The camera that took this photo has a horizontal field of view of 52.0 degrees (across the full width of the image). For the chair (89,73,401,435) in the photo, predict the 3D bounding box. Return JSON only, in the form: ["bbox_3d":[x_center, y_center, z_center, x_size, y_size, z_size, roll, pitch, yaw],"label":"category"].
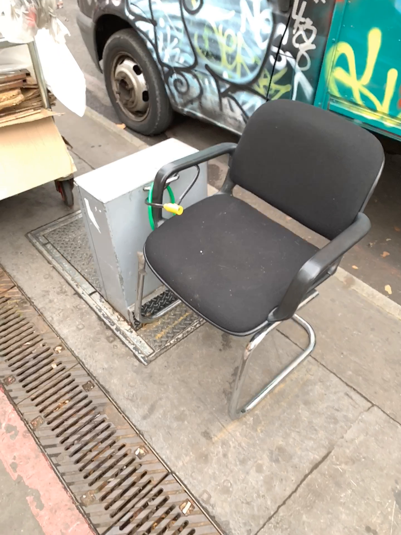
[{"bbox_3d":[0.125,-0.051,1.263,0.603,0.753,0.562,-32,55,-30],"label":"chair"}]
